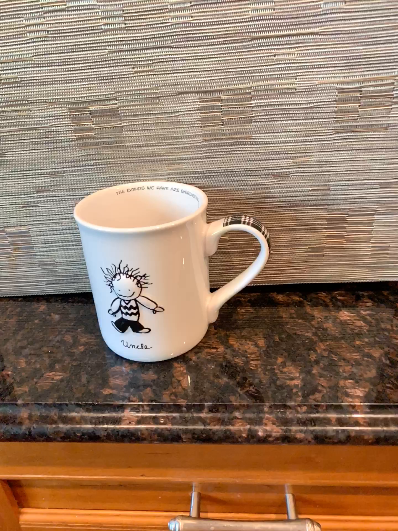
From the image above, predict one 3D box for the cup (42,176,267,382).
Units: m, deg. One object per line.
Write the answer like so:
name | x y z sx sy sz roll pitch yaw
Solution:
cup | -0.018 0.003 0.301 0.130 0.109 0.101 2 29 9
